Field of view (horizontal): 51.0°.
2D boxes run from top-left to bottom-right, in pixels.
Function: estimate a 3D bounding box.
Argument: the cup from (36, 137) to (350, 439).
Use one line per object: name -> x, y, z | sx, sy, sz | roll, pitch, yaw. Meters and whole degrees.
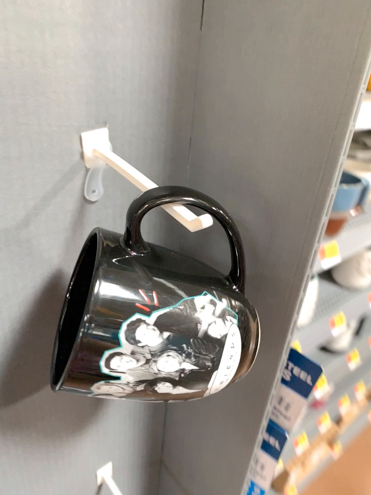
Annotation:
cup -> -0.007, 0.027, 0.226 | 0.115, 0.128, 0.087 | 15, 24, -22
